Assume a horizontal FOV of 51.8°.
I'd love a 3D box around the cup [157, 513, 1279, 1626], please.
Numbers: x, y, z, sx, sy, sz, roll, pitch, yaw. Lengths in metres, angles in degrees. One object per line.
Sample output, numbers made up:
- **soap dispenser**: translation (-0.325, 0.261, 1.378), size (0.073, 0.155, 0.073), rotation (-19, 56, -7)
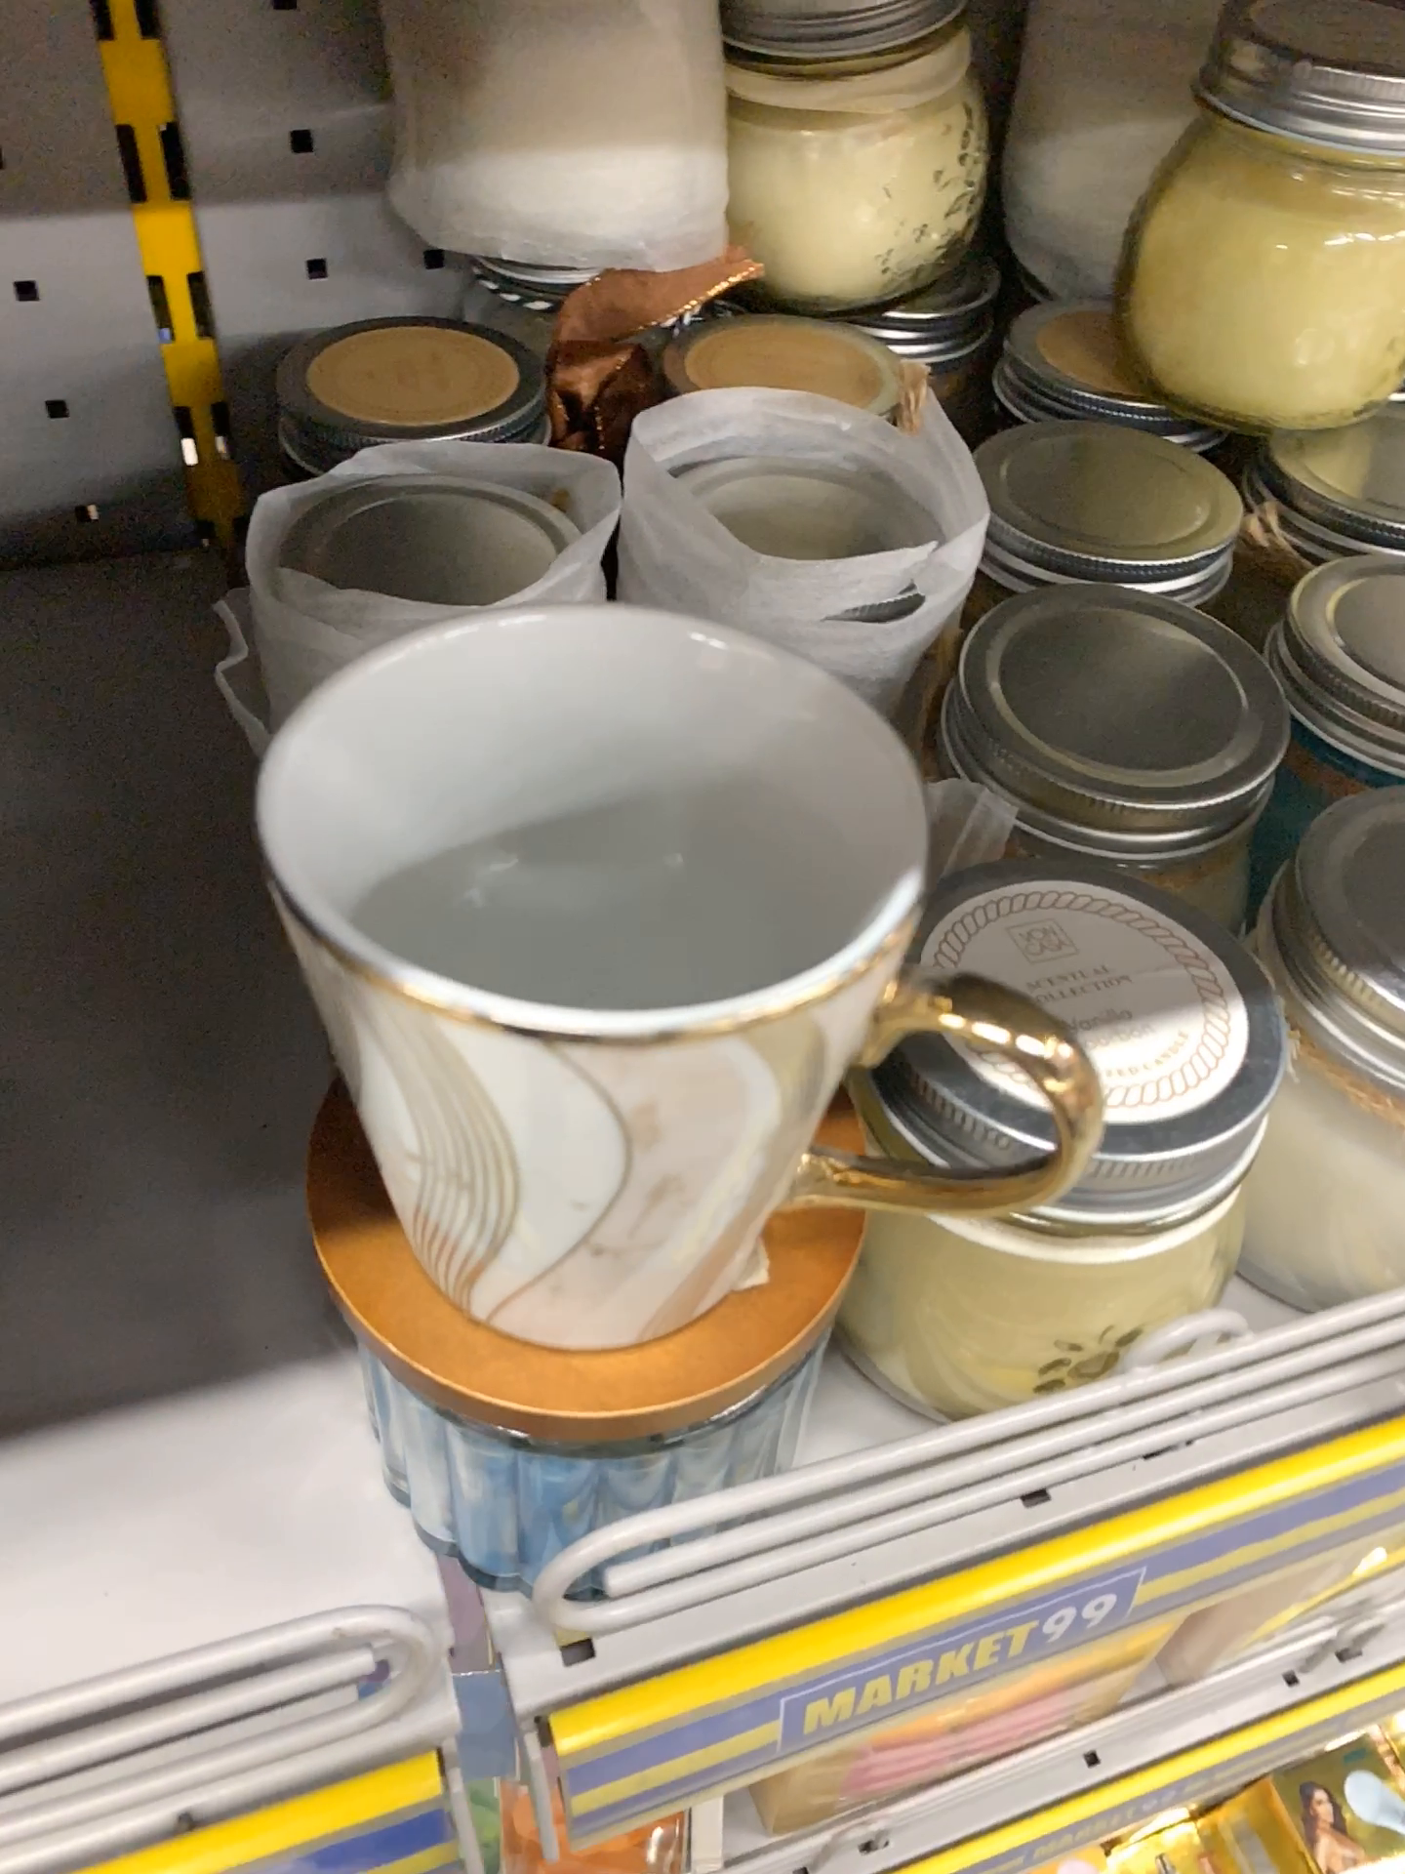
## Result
- **cup**: translation (0.003, 0.014, 0.172), size (0.090, 0.080, 0.070), rotation (21, 48, 15)
